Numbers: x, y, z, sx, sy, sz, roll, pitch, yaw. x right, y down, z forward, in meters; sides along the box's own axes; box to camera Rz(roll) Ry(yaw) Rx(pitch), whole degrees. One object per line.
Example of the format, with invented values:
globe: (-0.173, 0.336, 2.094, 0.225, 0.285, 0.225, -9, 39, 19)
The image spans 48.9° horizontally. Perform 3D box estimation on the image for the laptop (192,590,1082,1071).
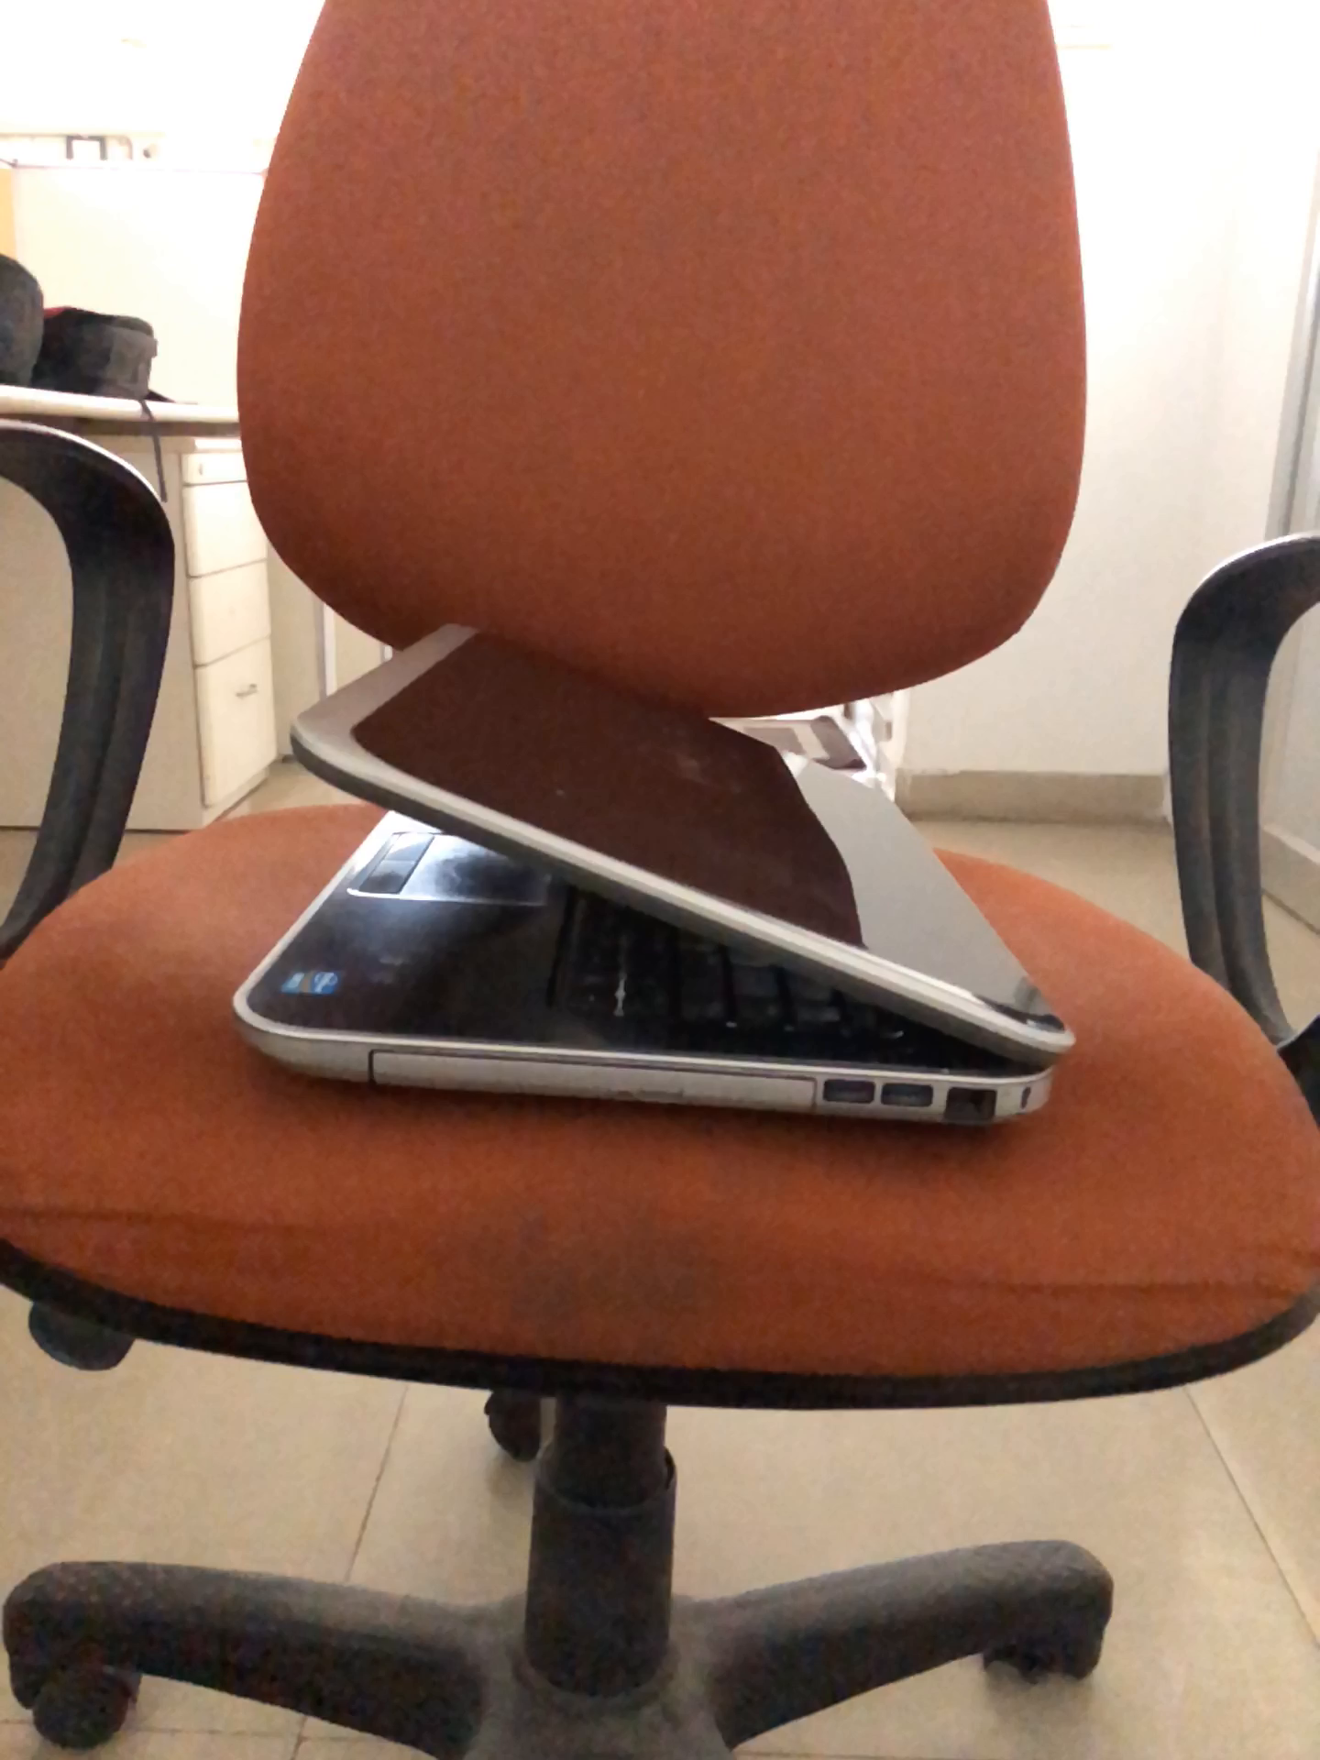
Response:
laptop: (-0.006, -0.046, 0.570, 0.233, 0.091, 0.367, 4, 15, -1)
